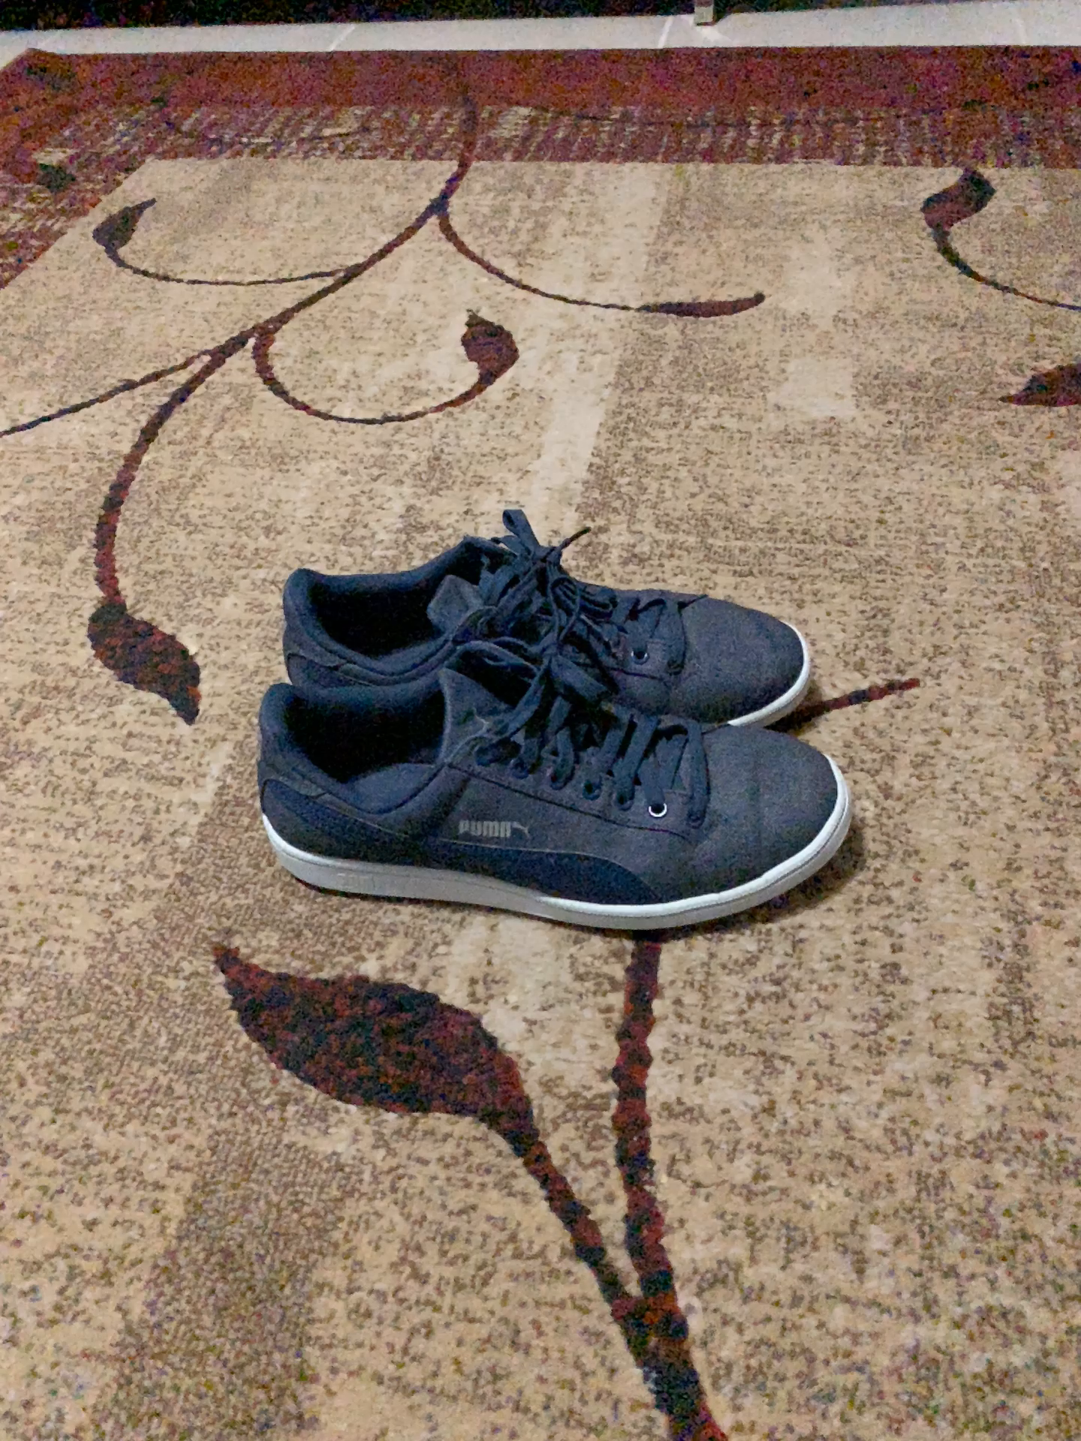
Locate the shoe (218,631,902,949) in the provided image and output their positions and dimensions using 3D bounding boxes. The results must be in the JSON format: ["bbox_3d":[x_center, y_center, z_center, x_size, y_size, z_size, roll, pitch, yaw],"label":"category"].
[{"bbox_3d":[0.011,0.030,0.510,0.274,0.090,0.107,1,47,6],"label":"shoe"}]

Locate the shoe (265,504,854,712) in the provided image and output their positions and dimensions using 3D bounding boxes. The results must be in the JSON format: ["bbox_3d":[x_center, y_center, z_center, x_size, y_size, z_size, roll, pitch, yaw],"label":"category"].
[{"bbox_3d":[0.010,-0.058,0.566,0.274,0.050,0.100,0,47,5],"label":"shoe"}]
